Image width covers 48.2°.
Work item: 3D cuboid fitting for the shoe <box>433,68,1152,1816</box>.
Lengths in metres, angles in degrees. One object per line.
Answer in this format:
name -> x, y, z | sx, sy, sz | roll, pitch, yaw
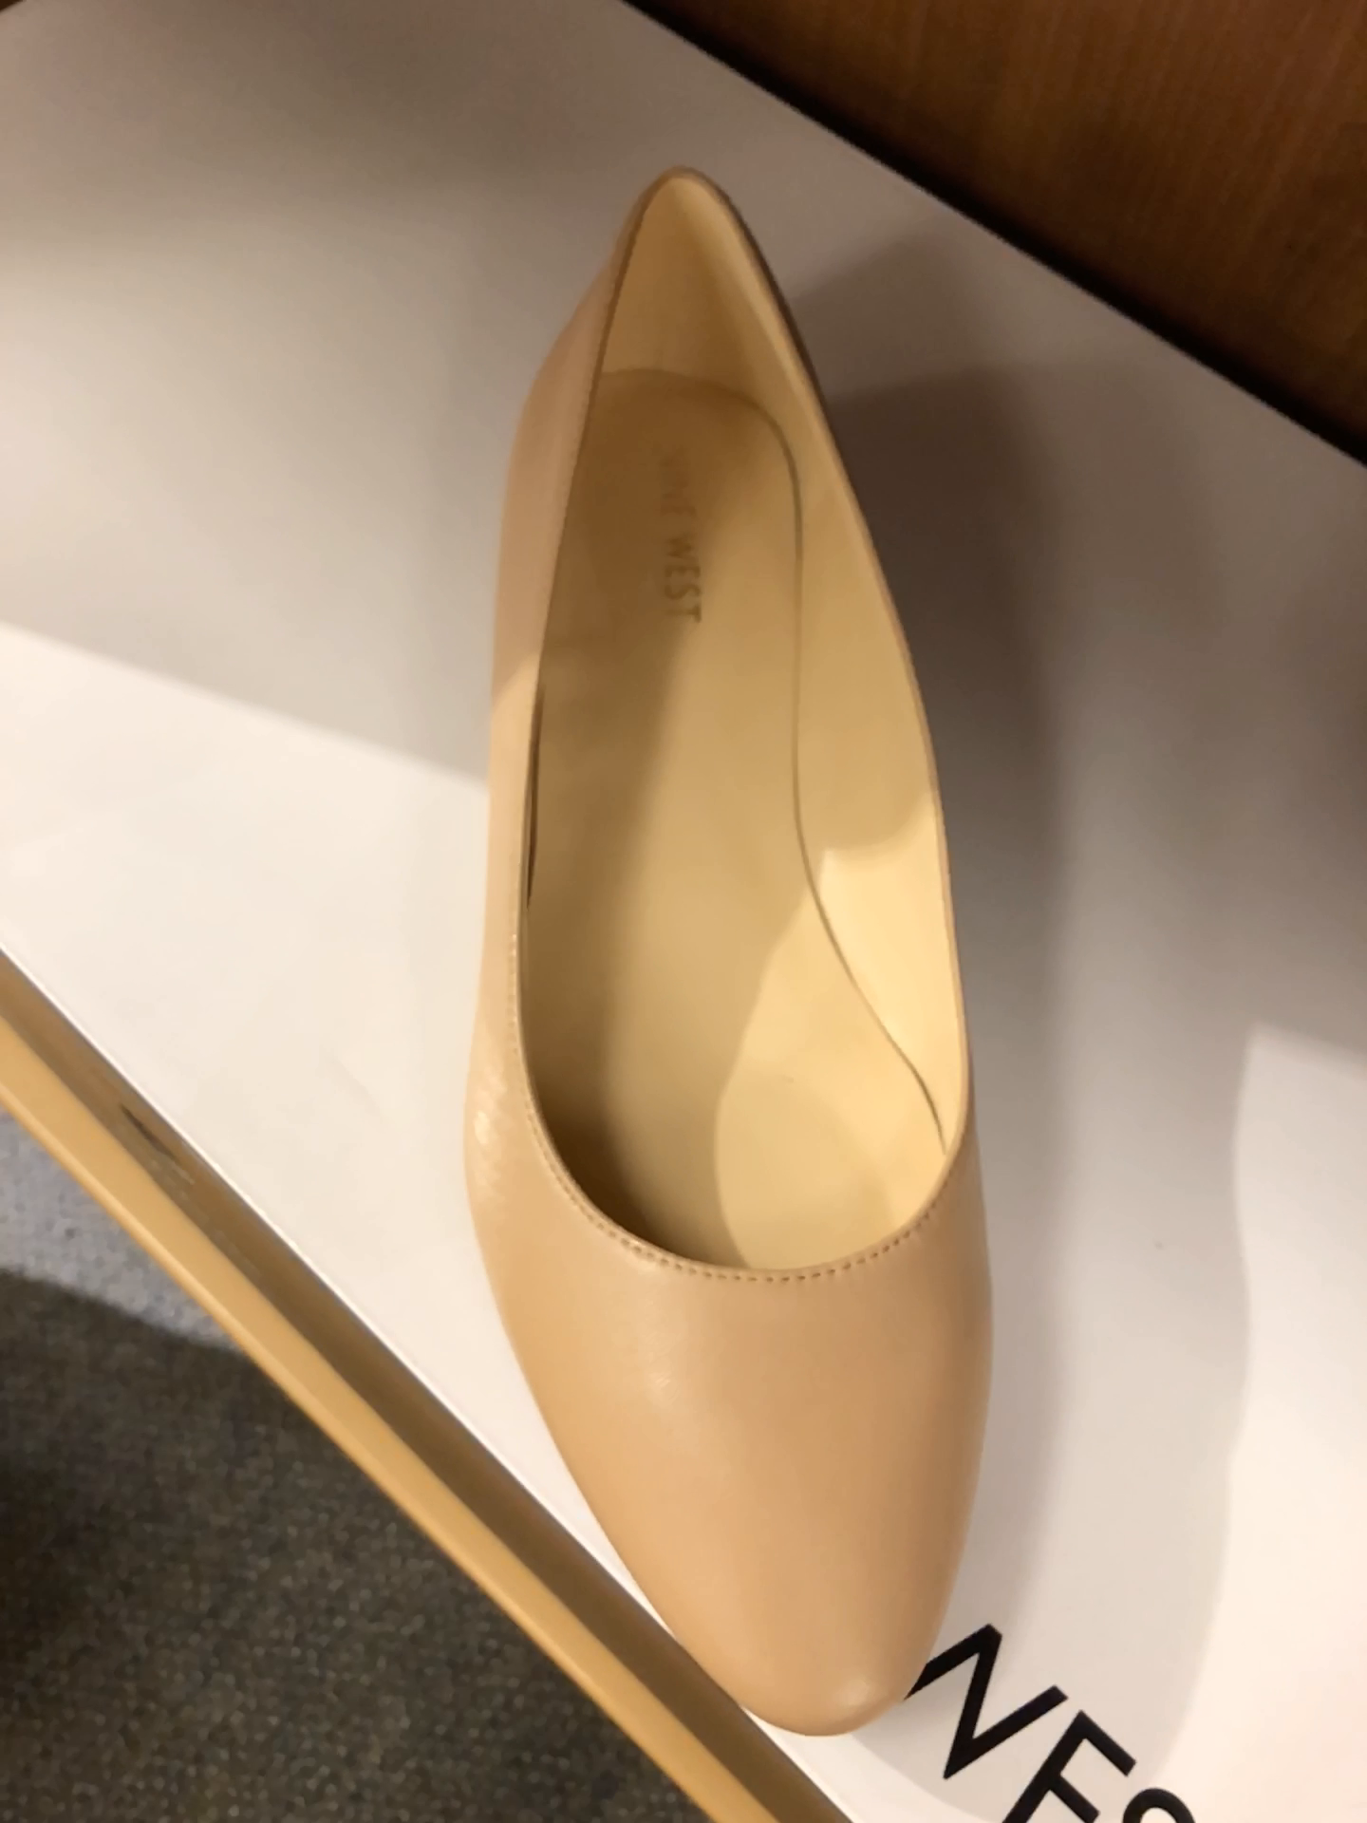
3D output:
shoe -> 0.003, -0.013, 0.256 | 0.081, 0.070, 0.270 | -2, 68, -4
